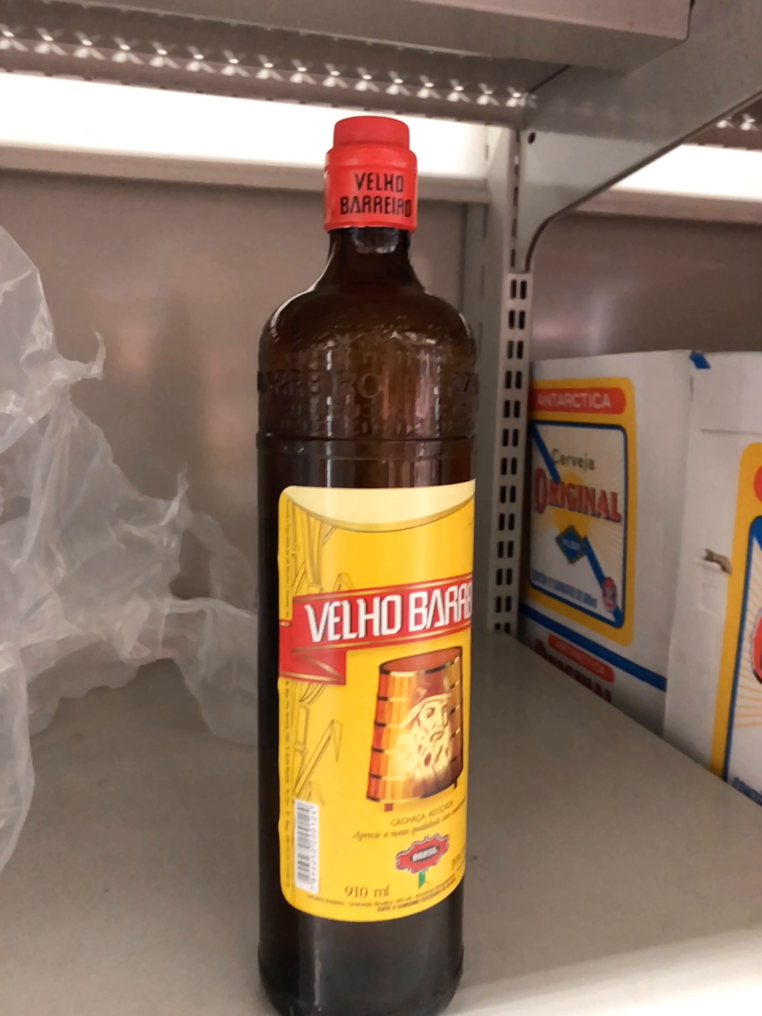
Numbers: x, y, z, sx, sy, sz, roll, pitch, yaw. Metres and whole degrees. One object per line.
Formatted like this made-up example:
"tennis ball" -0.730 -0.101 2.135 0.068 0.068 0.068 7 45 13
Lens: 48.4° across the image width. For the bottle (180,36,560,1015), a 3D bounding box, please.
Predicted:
"bottle" -0.005 0.022 0.289 0.090 0.299 0.080 -6 11 -33
